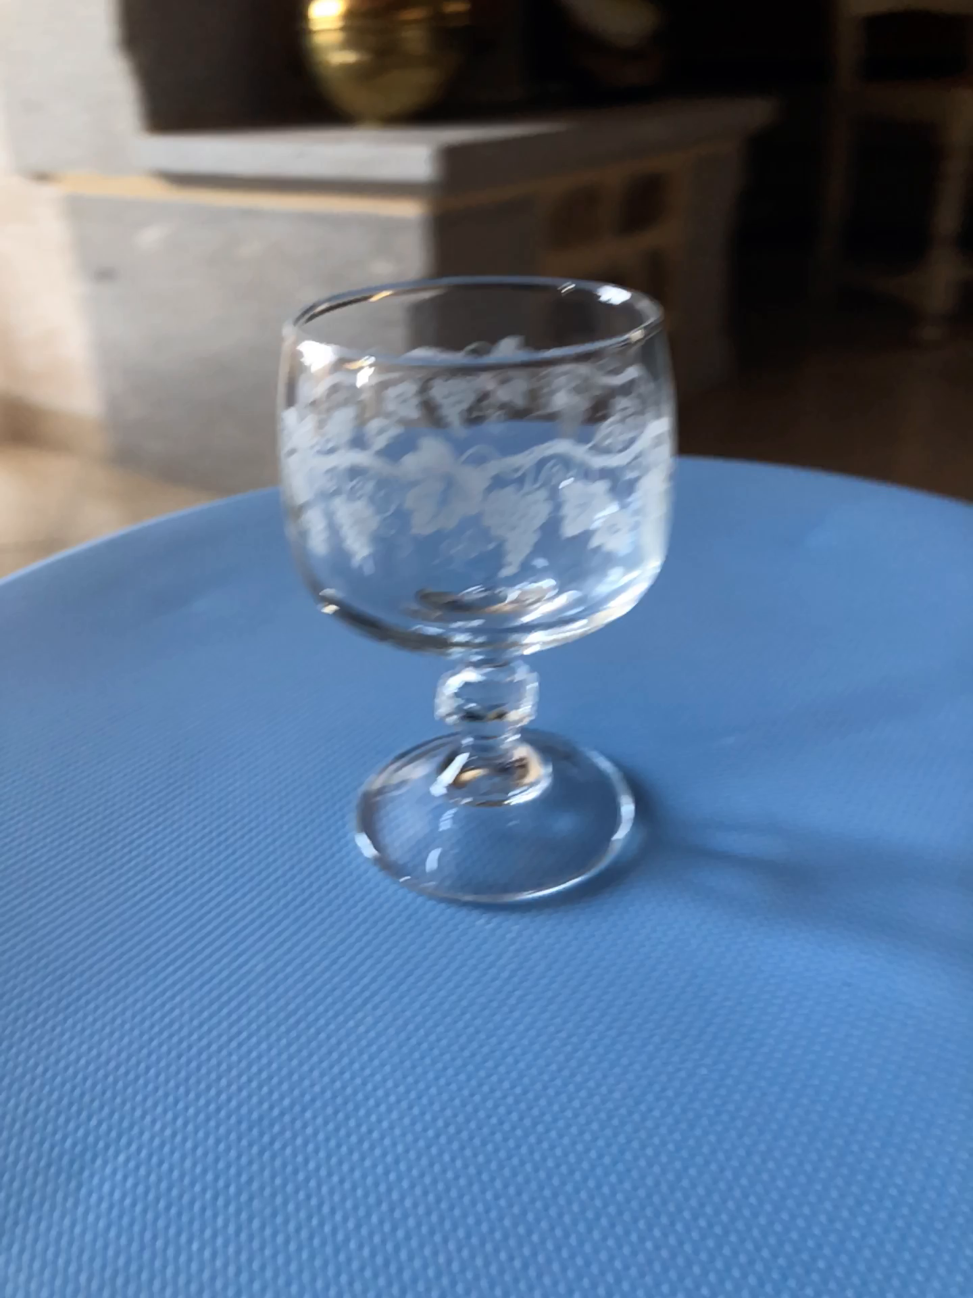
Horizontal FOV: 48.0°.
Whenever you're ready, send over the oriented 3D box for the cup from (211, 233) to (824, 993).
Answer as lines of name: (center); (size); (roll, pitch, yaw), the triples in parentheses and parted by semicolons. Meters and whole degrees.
cup: (0.000, -0.010, 0.152); (0.060, 0.080, 0.060); (-1, 29, 1)
